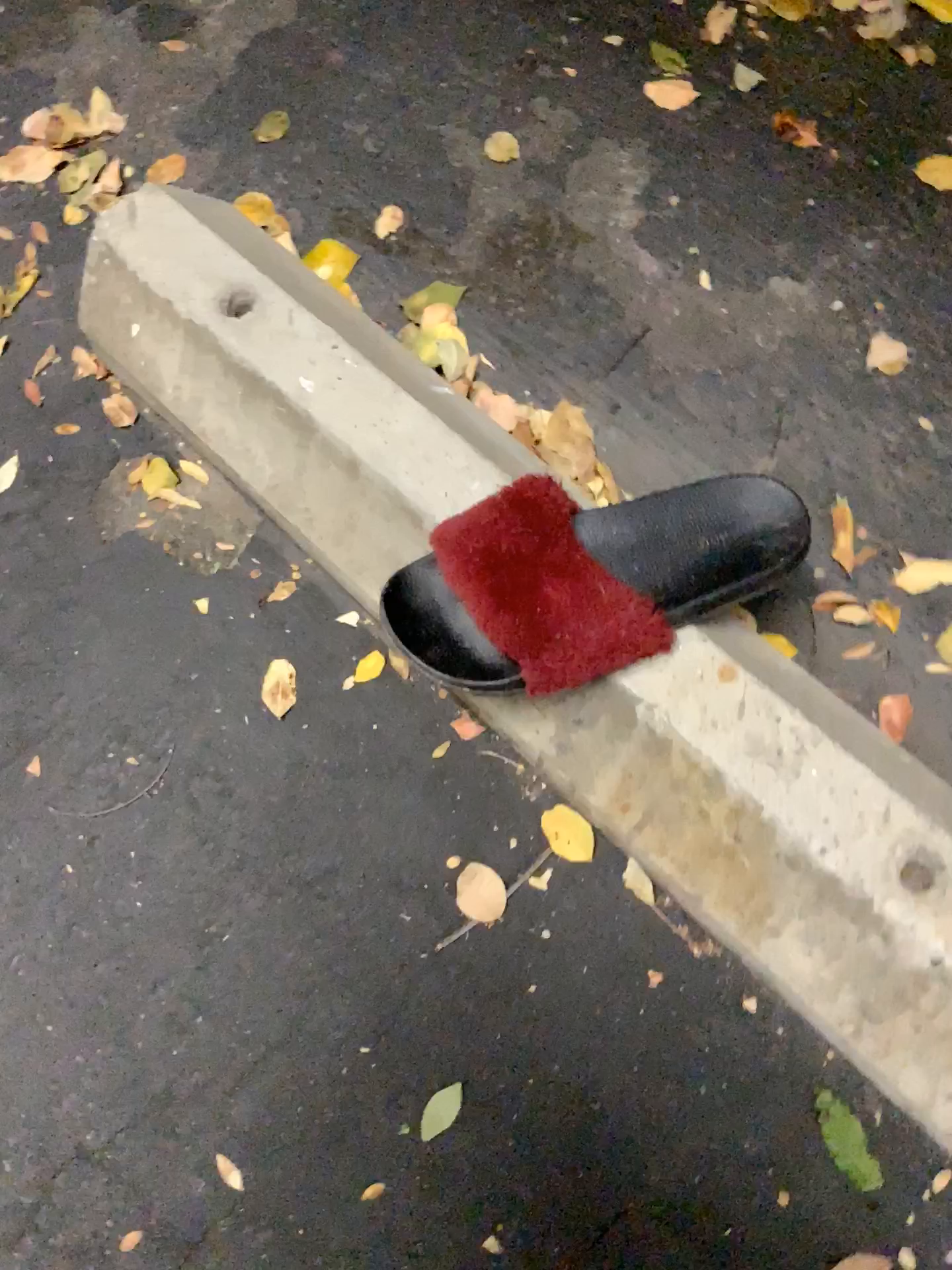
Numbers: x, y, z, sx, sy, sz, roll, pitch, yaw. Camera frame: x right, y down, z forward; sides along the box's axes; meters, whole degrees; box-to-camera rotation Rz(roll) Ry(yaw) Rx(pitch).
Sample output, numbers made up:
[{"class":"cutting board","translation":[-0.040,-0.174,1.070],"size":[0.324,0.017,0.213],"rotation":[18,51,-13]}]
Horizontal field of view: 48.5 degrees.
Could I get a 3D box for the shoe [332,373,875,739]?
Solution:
[{"class":"shoe","translation":[0.070,-0.049,0.630],"size":[0.280,0.050,0.140],"rotation":[-16,66,-4]}]
